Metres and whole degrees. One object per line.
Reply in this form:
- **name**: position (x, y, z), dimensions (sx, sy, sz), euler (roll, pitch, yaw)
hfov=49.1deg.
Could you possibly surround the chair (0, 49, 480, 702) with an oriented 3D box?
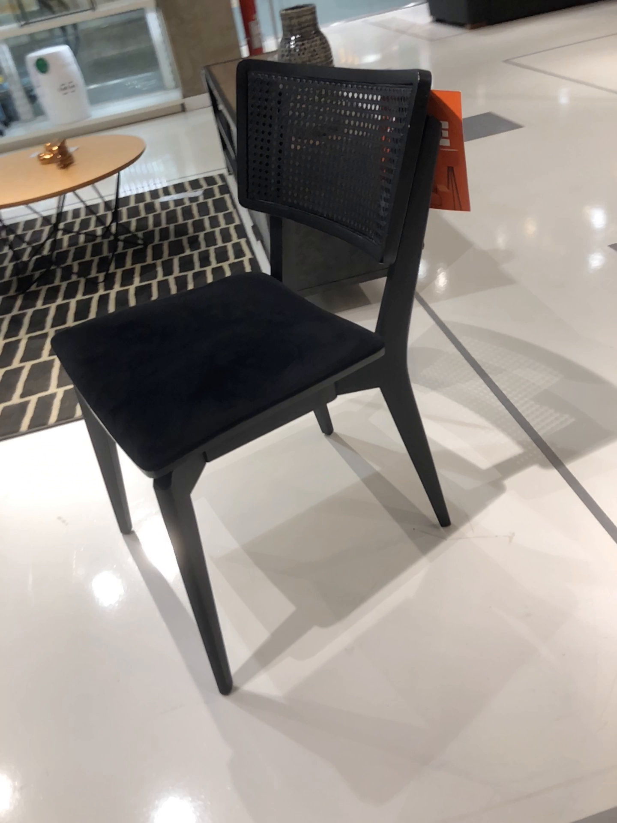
- **chair**: position (-0.128, -0.098, 1.087), dimensions (0.551, 0.744, 0.533), euler (-28, 38, -21)
